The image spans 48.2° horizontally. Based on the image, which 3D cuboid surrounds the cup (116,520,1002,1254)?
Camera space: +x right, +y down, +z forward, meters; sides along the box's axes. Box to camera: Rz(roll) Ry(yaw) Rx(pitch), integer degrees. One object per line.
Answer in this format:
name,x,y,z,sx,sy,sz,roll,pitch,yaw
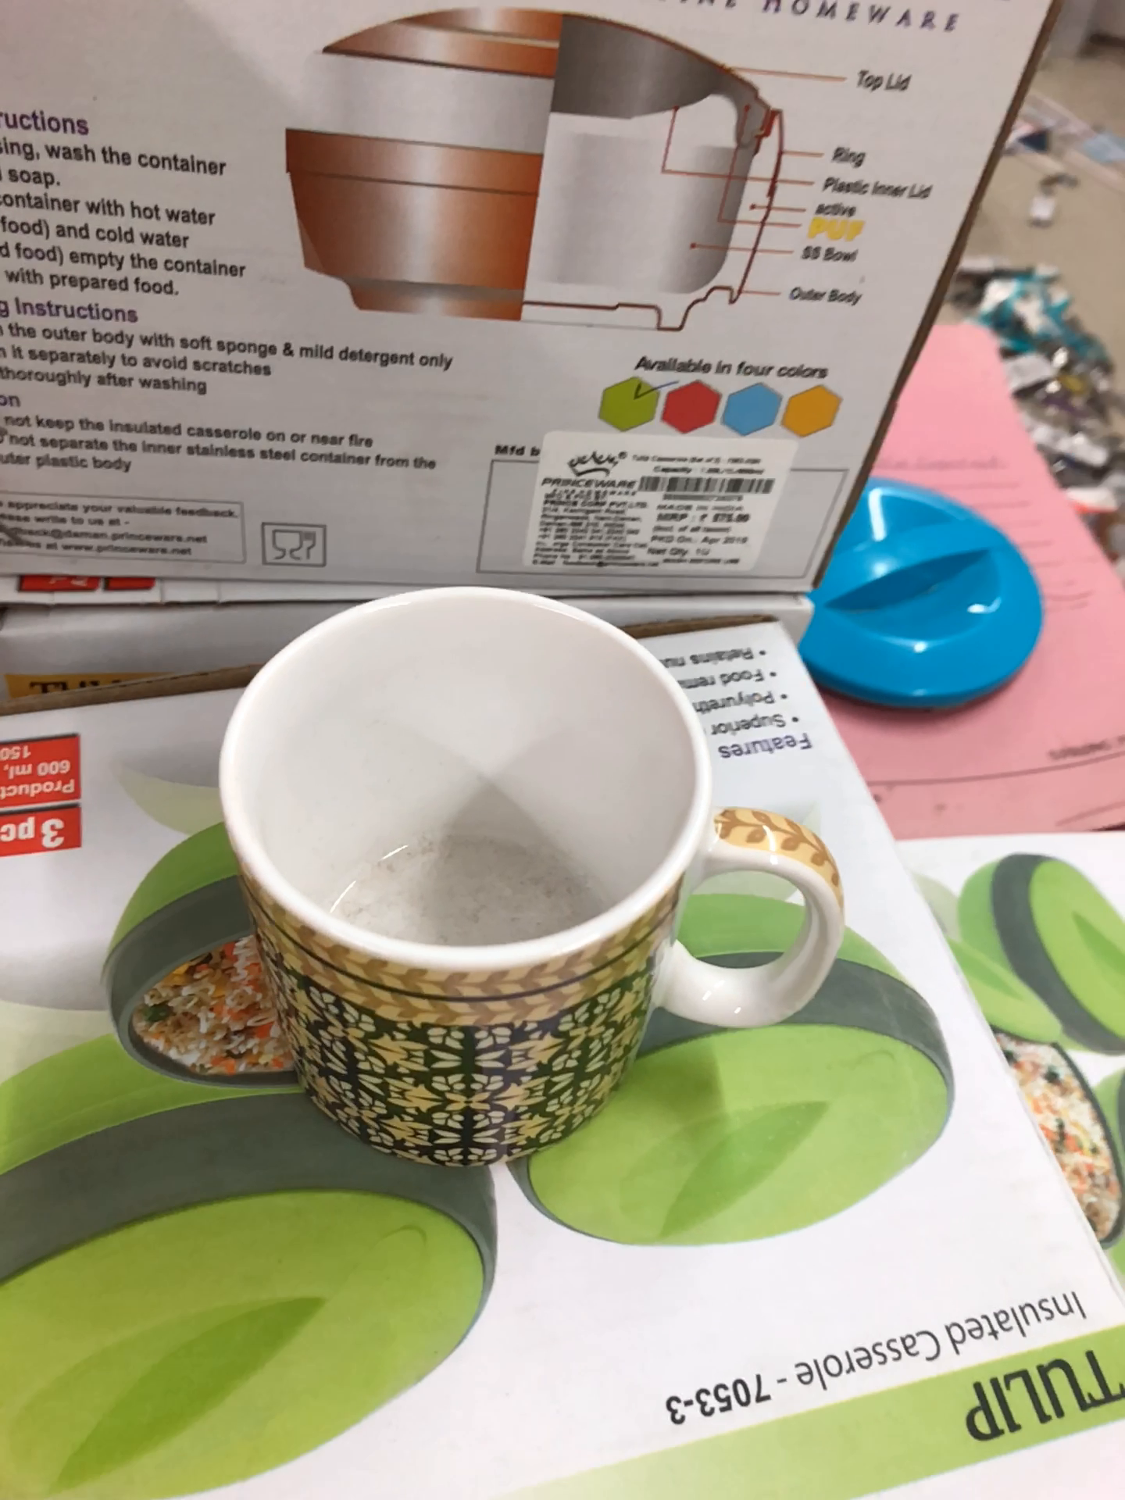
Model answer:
cup,0.000,0.025,0.212,0.110,0.090,0.070,7,48,1
